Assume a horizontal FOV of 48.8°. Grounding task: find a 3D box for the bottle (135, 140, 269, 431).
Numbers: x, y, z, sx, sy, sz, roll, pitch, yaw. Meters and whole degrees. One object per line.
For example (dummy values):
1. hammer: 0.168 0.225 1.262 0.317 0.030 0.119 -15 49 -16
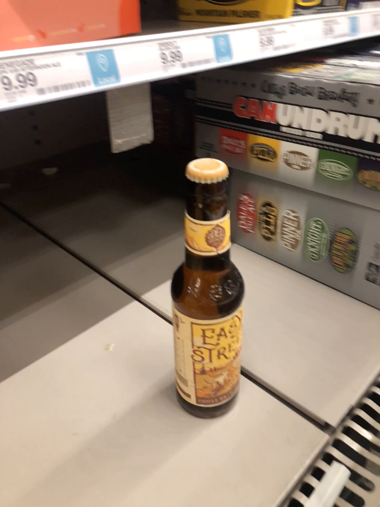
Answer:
1. bottle: 0.008 0.034 0.348 0.066 0.229 0.070 -1 32 1
